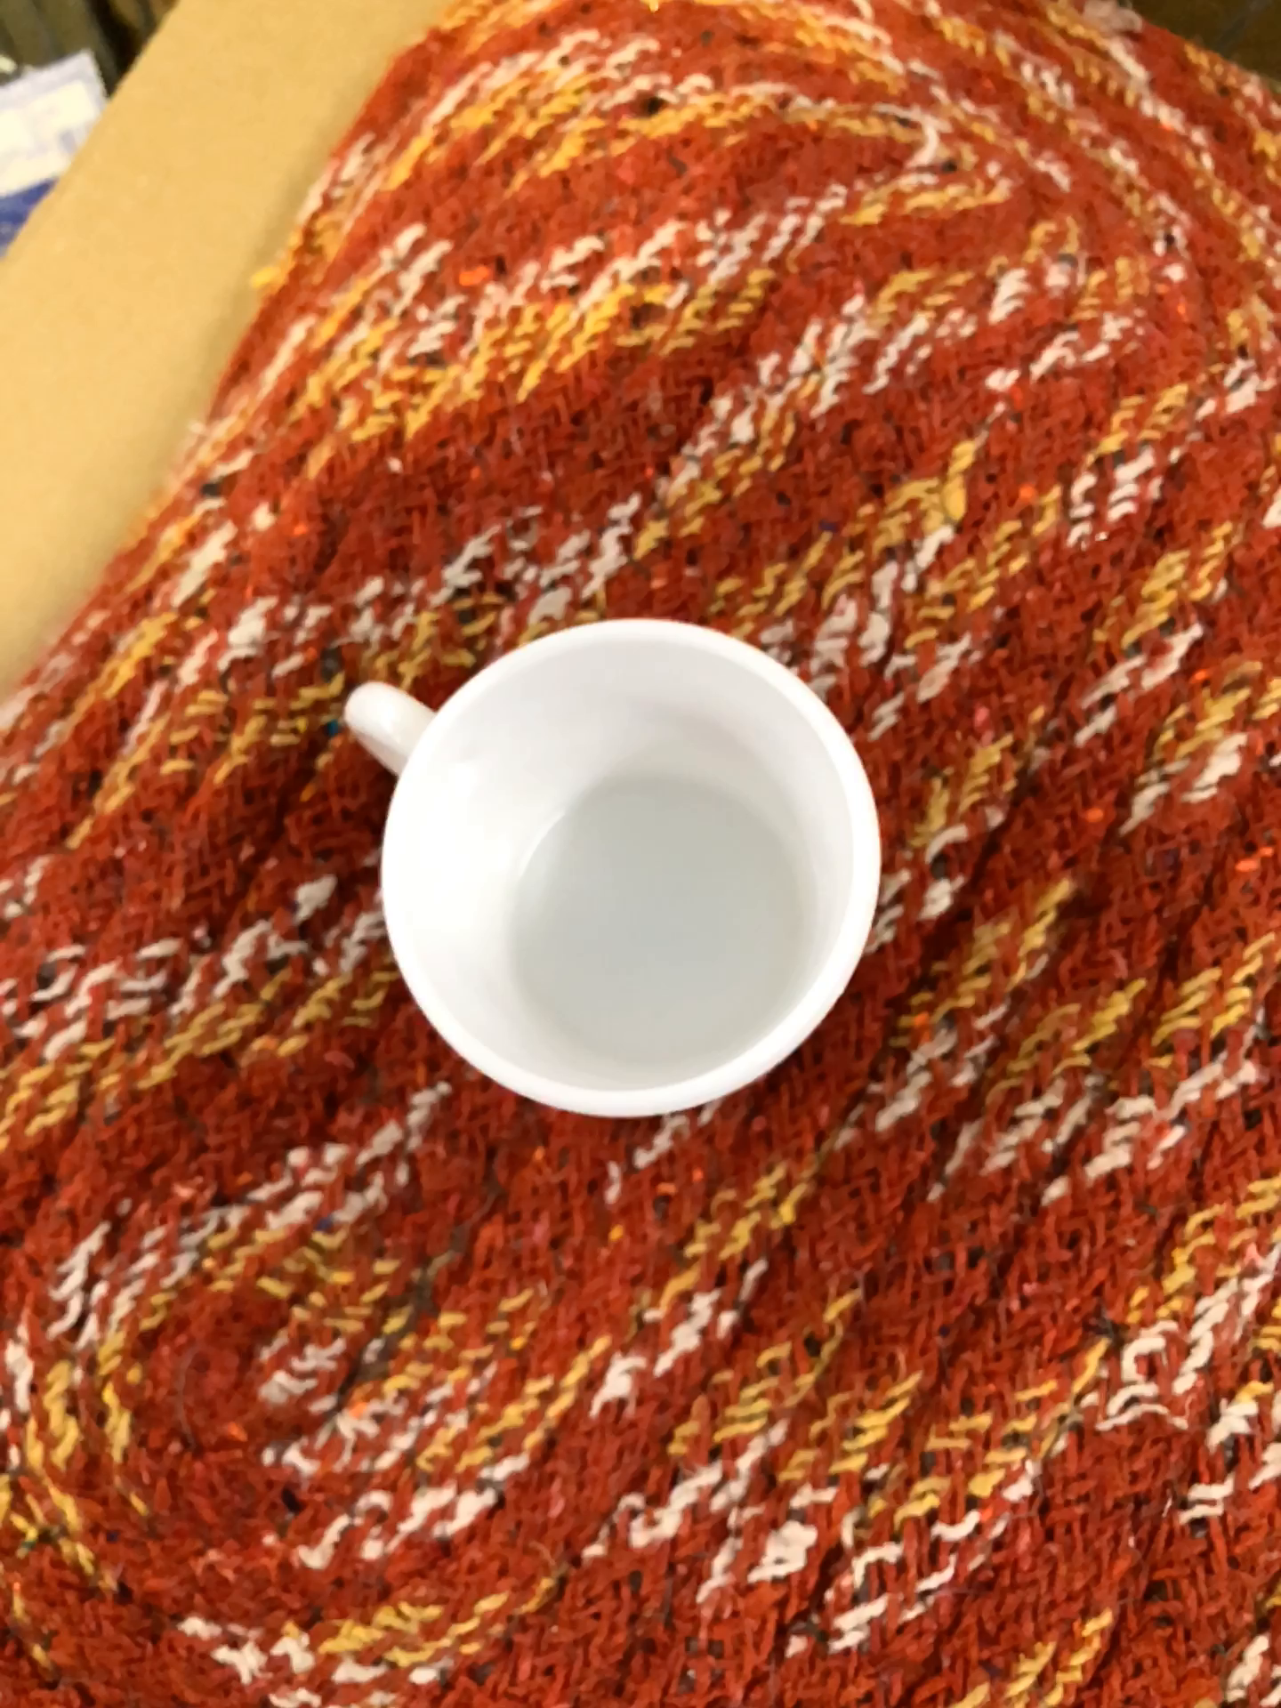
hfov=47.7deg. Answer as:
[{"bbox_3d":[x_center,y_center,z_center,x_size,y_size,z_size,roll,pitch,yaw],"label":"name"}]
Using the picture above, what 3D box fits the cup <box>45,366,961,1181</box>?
[{"bbox_3d":[-0.015,-0.007,0.198,0.090,0.060,0.060,32,82,11],"label":"cup"}]
